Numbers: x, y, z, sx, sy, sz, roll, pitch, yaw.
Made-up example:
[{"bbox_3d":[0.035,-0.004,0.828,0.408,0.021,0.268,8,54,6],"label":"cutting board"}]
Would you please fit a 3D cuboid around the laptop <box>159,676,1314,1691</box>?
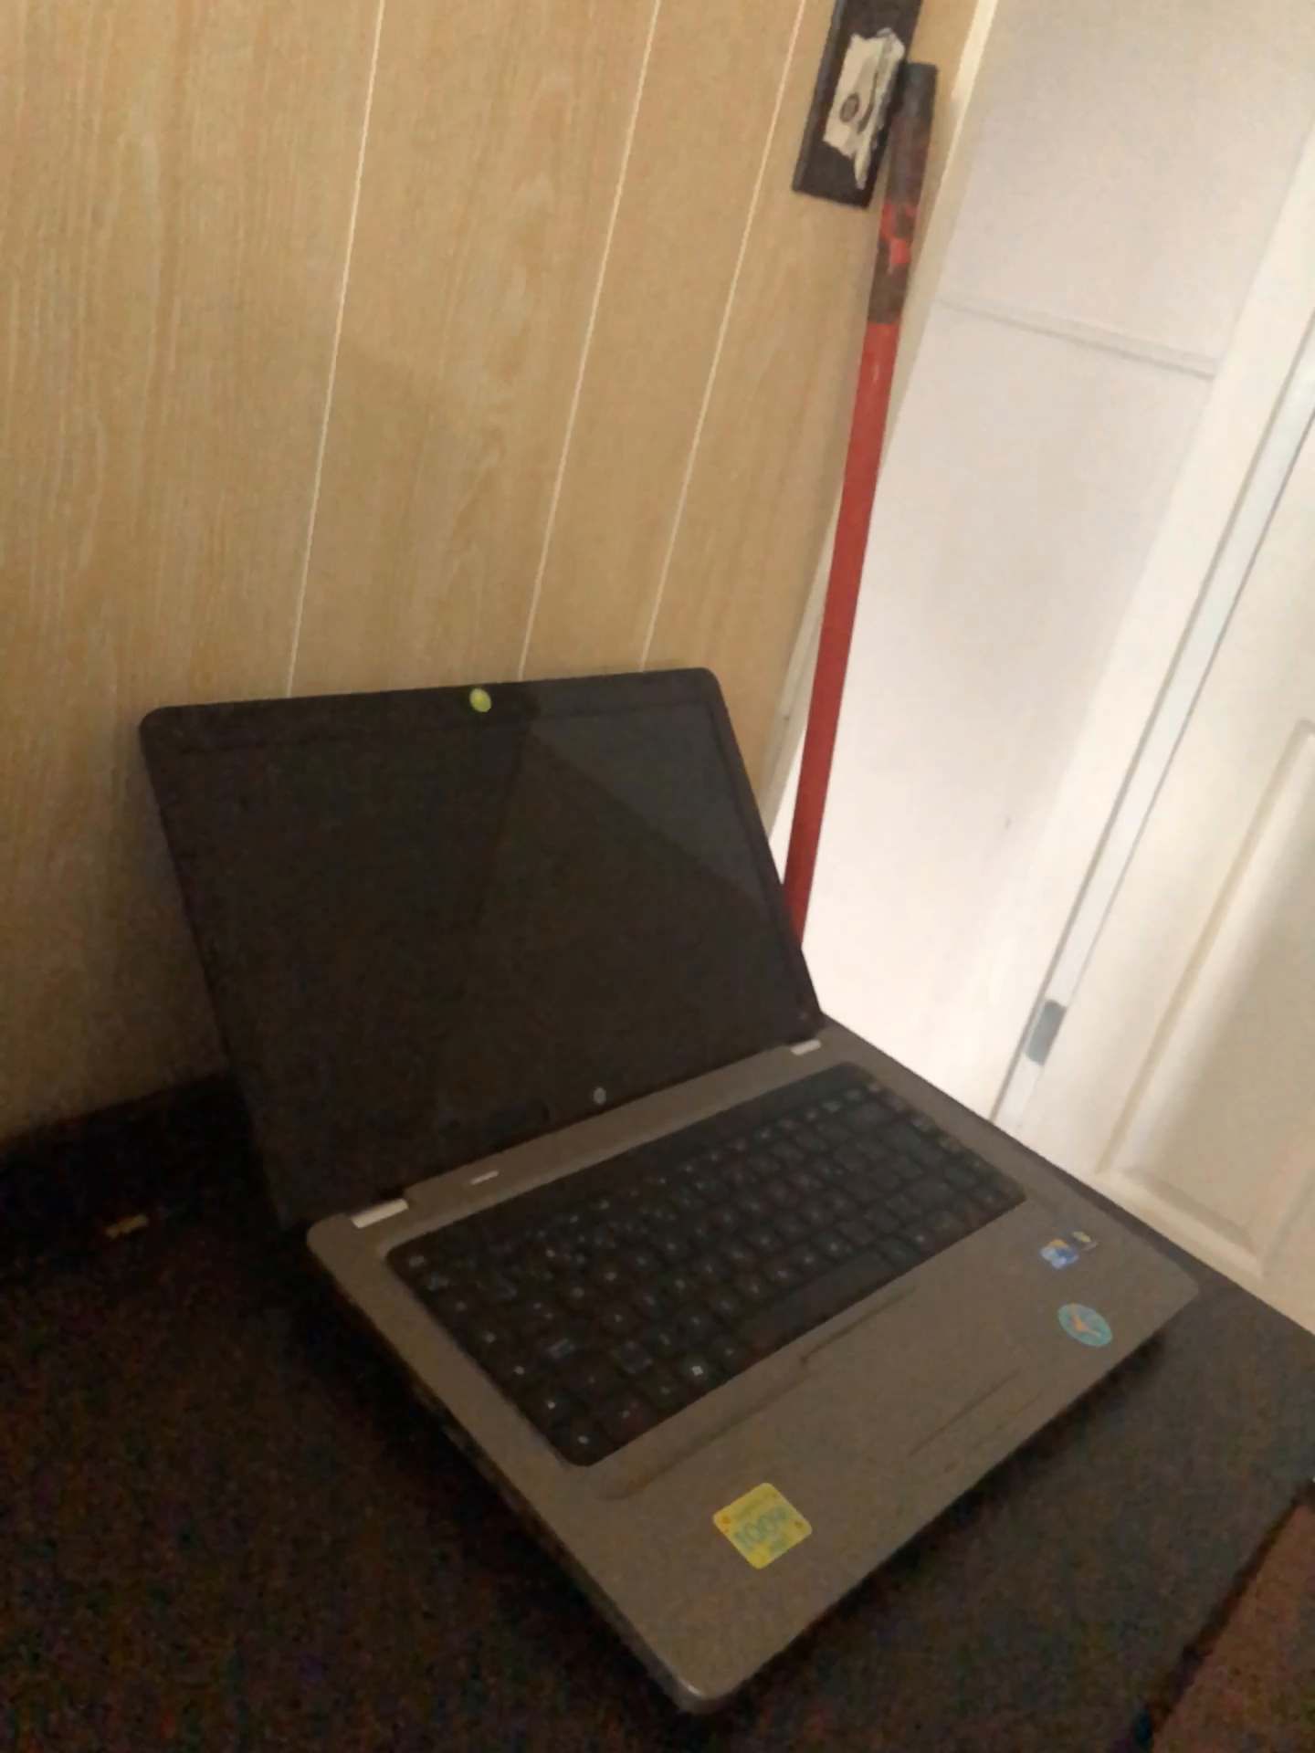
[{"bbox_3d":[0.034,0.072,0.683,0.357,0.166,0.402,-13,37,-44],"label":"laptop"}]
